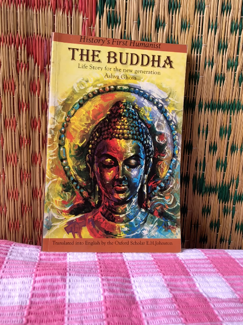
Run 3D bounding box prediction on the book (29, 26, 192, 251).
[{"bbox_3d":[-0.008,-0.021,0.272,0.146,0.207,0.030,3,-3,-7],"label":"book"}]
